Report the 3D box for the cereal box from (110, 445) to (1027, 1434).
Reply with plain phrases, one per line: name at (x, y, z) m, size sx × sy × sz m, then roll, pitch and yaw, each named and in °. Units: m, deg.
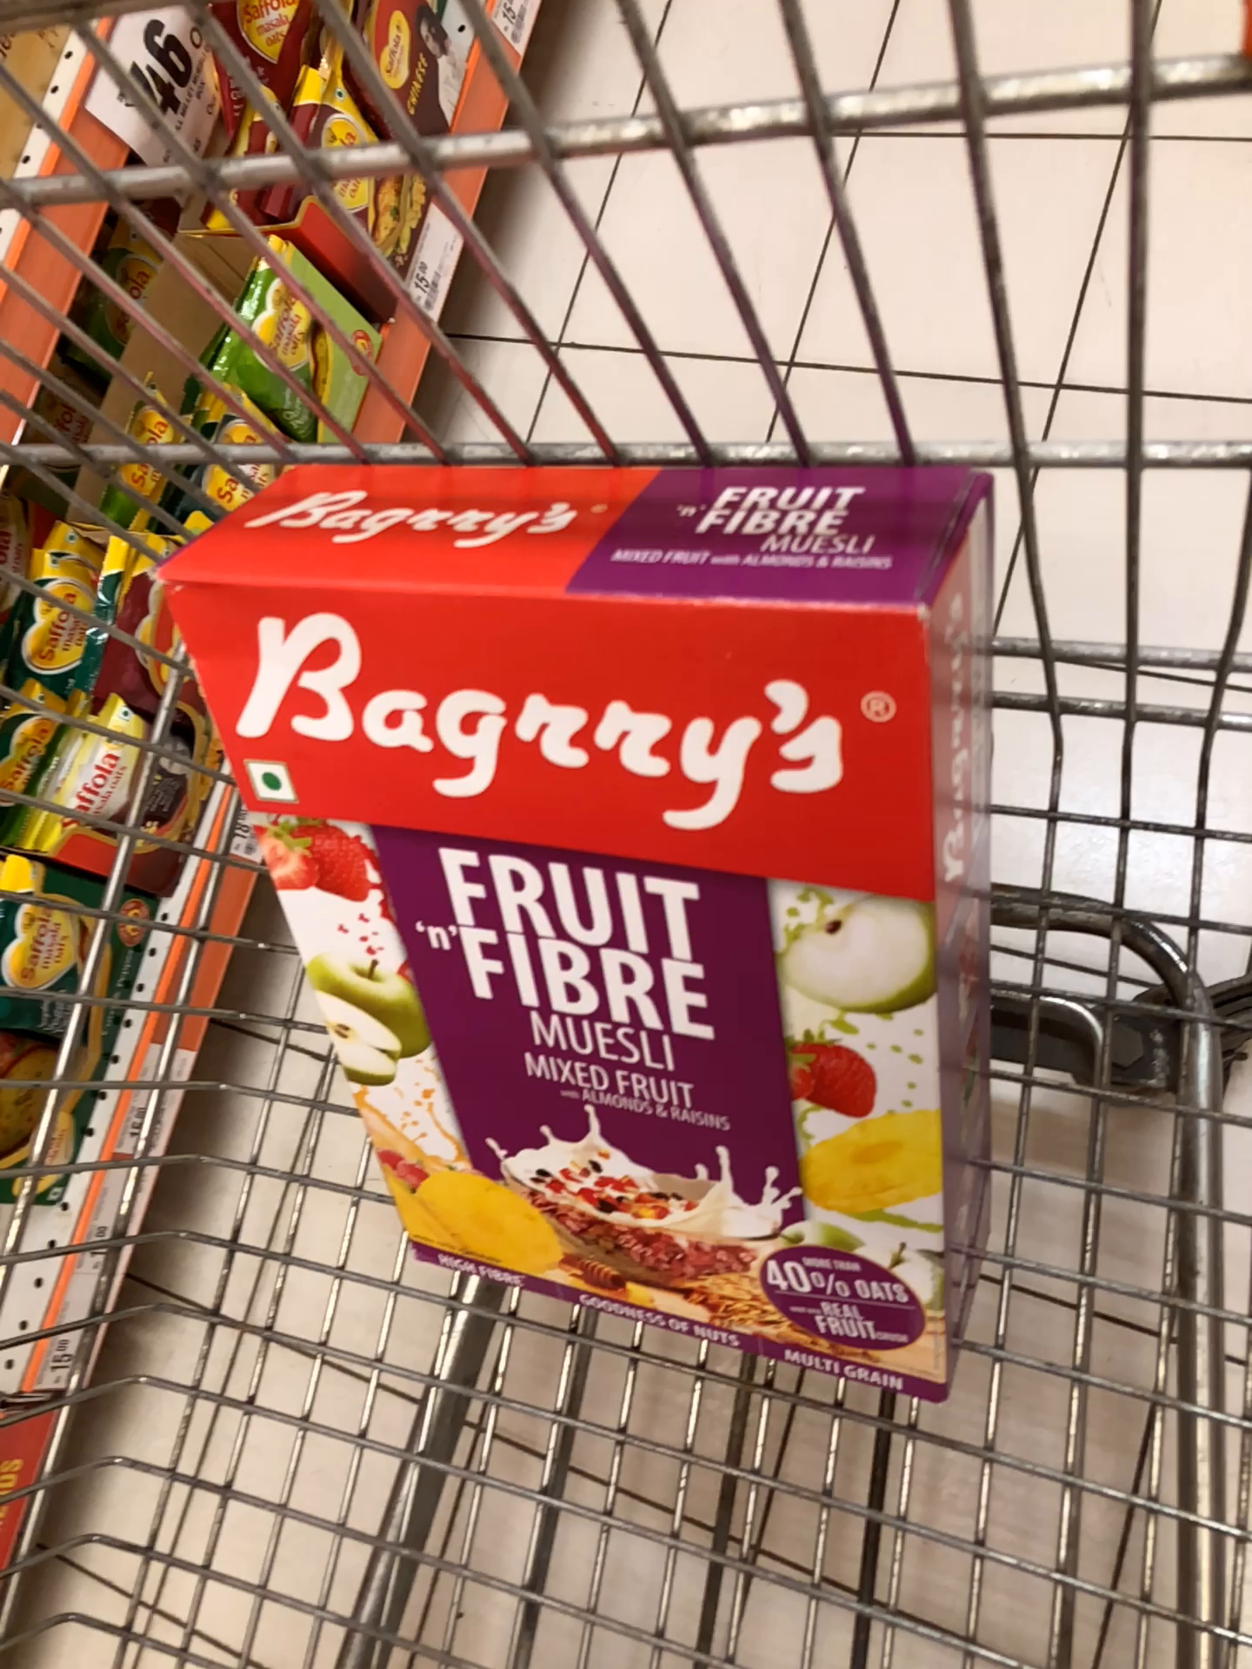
cereal box at (0.000, 0.031, 0.370) m, size 0.190 × 0.249 × 0.070 m, roll 7°, pitch 37°, yaw 23°
